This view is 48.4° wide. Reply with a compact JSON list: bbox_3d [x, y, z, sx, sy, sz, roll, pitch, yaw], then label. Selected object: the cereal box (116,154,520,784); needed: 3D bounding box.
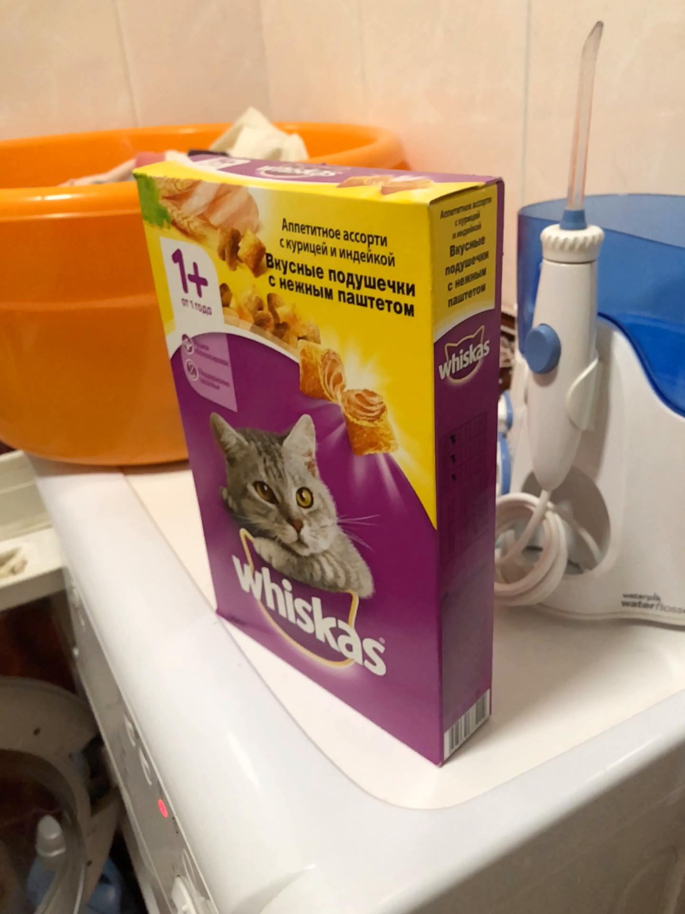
[{"bbox_3d":[-0.008,0.001,0.303,0.150,0.219,0.040,21,38,40],"label":"cereal box"}]
